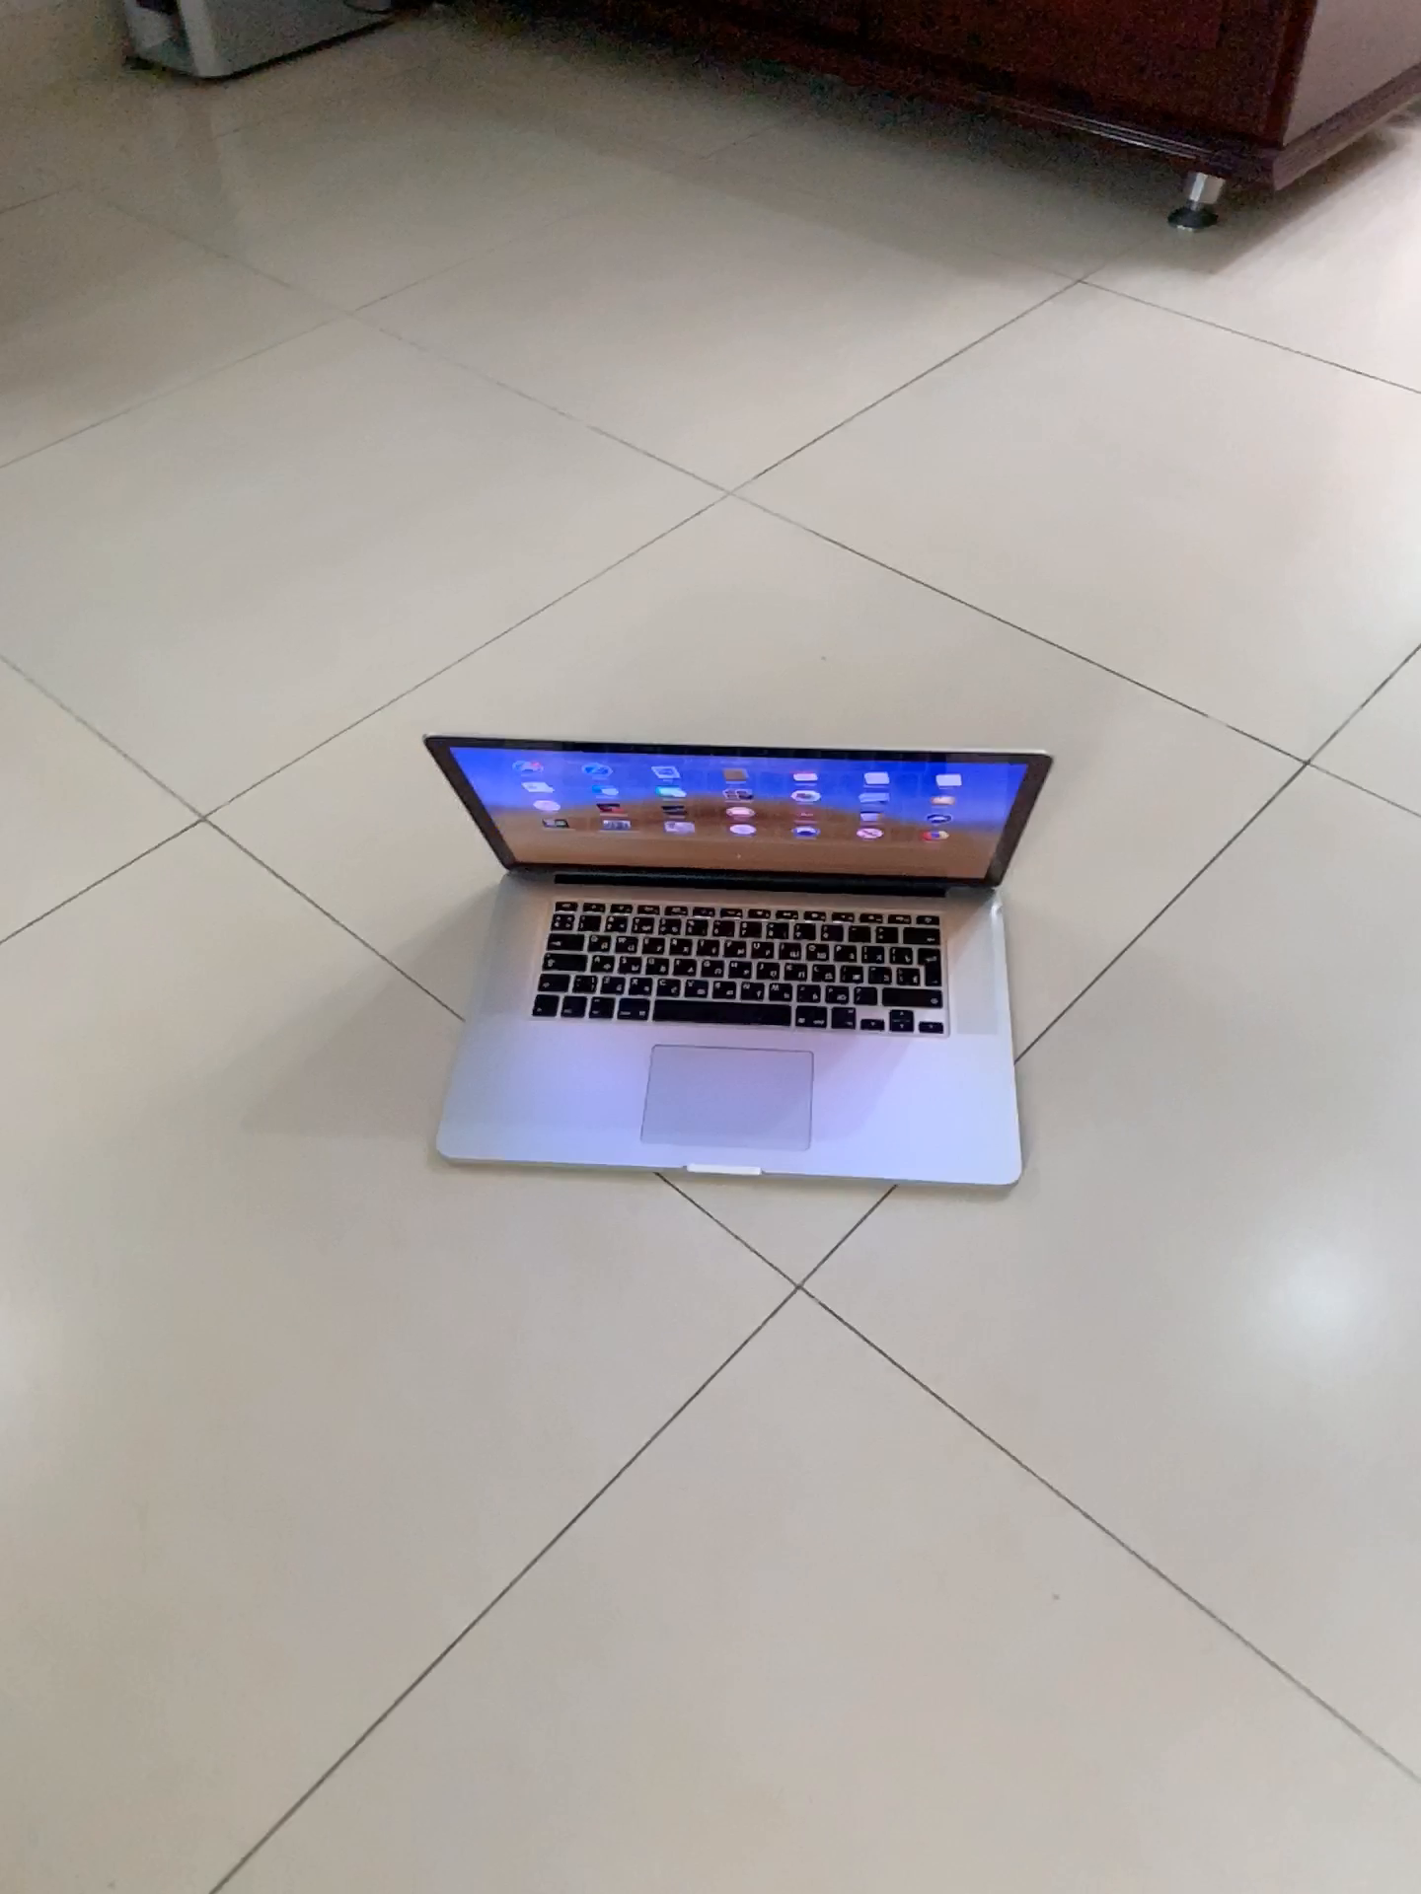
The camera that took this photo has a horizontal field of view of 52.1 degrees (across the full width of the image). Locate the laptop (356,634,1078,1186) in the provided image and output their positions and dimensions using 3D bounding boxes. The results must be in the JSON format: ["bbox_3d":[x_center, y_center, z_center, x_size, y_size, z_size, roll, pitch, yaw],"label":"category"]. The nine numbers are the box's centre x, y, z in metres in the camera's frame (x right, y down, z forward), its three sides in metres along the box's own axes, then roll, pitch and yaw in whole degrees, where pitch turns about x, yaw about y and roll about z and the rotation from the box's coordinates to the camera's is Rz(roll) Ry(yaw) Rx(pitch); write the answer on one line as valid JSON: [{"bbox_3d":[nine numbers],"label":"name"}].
[{"bbox_3d":[0.014,-0.026,0.879,0.359,0.207,0.242,3,48,4],"label":"laptop"}]
